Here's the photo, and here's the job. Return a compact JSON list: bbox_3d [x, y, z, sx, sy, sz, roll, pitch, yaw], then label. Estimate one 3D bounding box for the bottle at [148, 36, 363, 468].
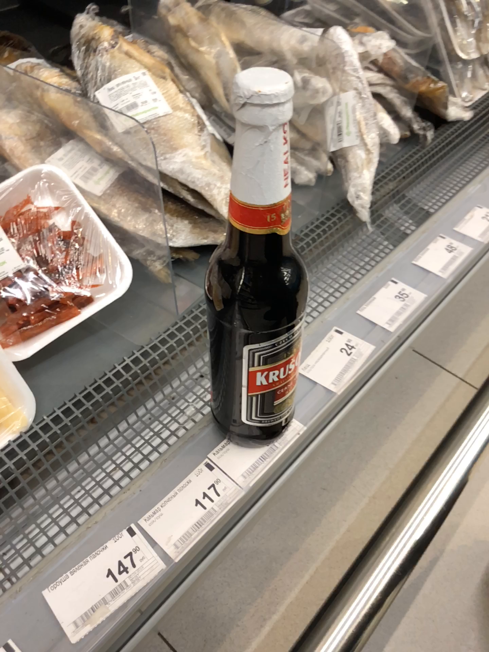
[{"bbox_3d":[0.004,-0.022,0.343,0.070,0.269,0.070,1,46,-1],"label":"bottle"}]
